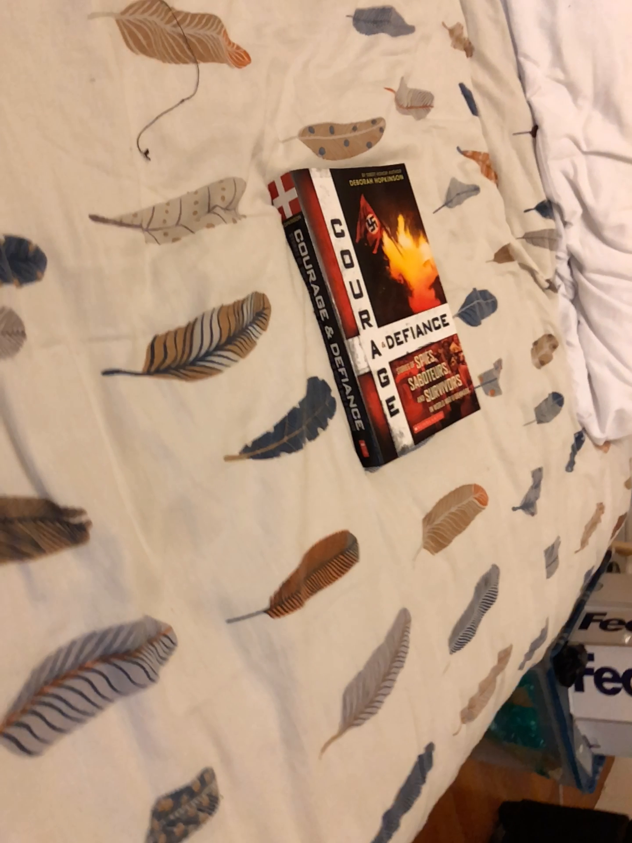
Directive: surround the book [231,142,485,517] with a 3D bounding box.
[{"bbox_3d":[0.047,-0.080,0.502,0.201,0.020,0.230,-32,107,-52],"label":"book"}]
